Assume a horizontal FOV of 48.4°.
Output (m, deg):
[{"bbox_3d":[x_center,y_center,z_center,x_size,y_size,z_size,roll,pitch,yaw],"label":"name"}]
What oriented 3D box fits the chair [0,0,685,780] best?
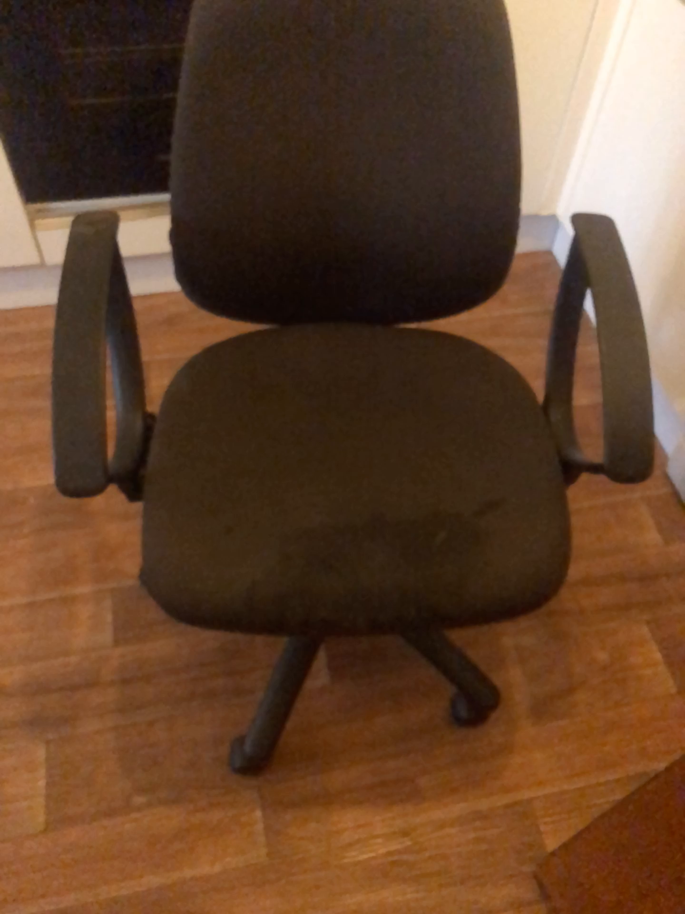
[{"bbox_3d":[0.012,-0.048,0.948,0.673,0.816,0.655,1,53,-2],"label":"chair"}]
